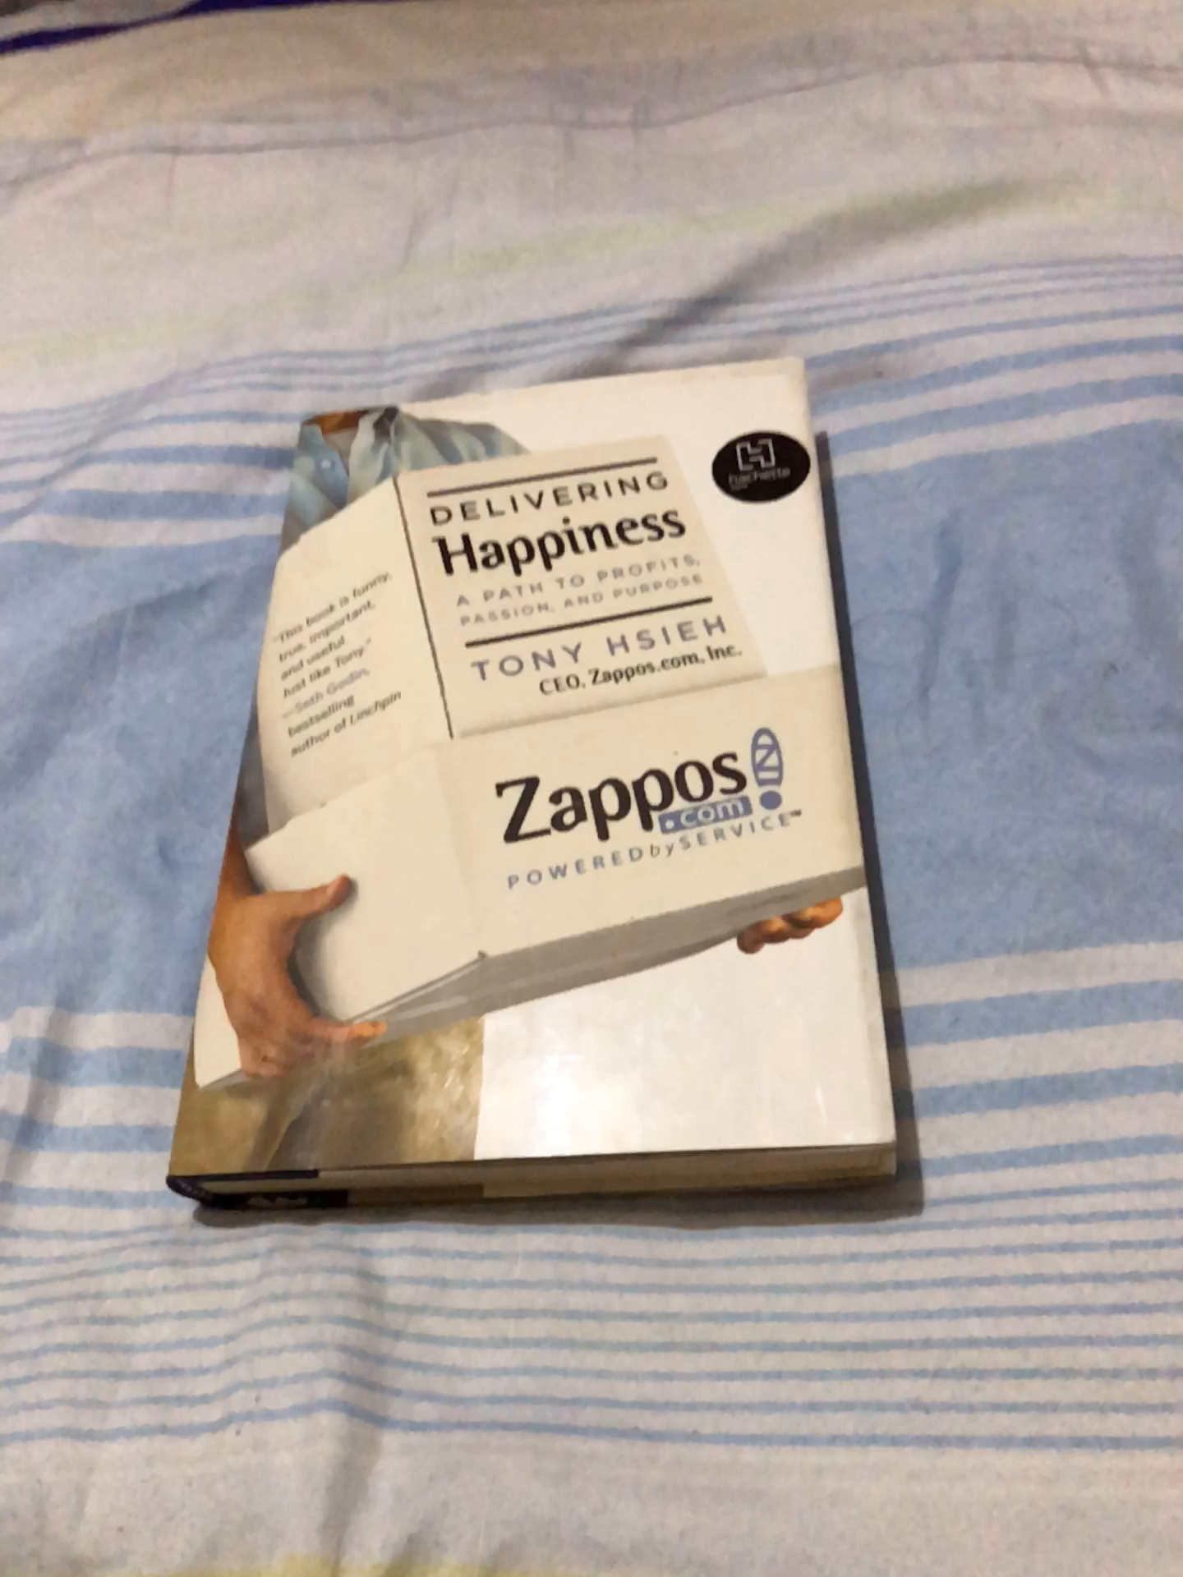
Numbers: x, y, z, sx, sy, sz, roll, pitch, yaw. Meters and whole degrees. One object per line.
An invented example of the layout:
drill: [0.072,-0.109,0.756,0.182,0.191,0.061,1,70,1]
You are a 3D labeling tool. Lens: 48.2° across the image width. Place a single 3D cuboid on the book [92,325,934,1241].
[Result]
book: [-0.014,-0.013,0.348,0.170,0.050,0.241,-5,56,8]
